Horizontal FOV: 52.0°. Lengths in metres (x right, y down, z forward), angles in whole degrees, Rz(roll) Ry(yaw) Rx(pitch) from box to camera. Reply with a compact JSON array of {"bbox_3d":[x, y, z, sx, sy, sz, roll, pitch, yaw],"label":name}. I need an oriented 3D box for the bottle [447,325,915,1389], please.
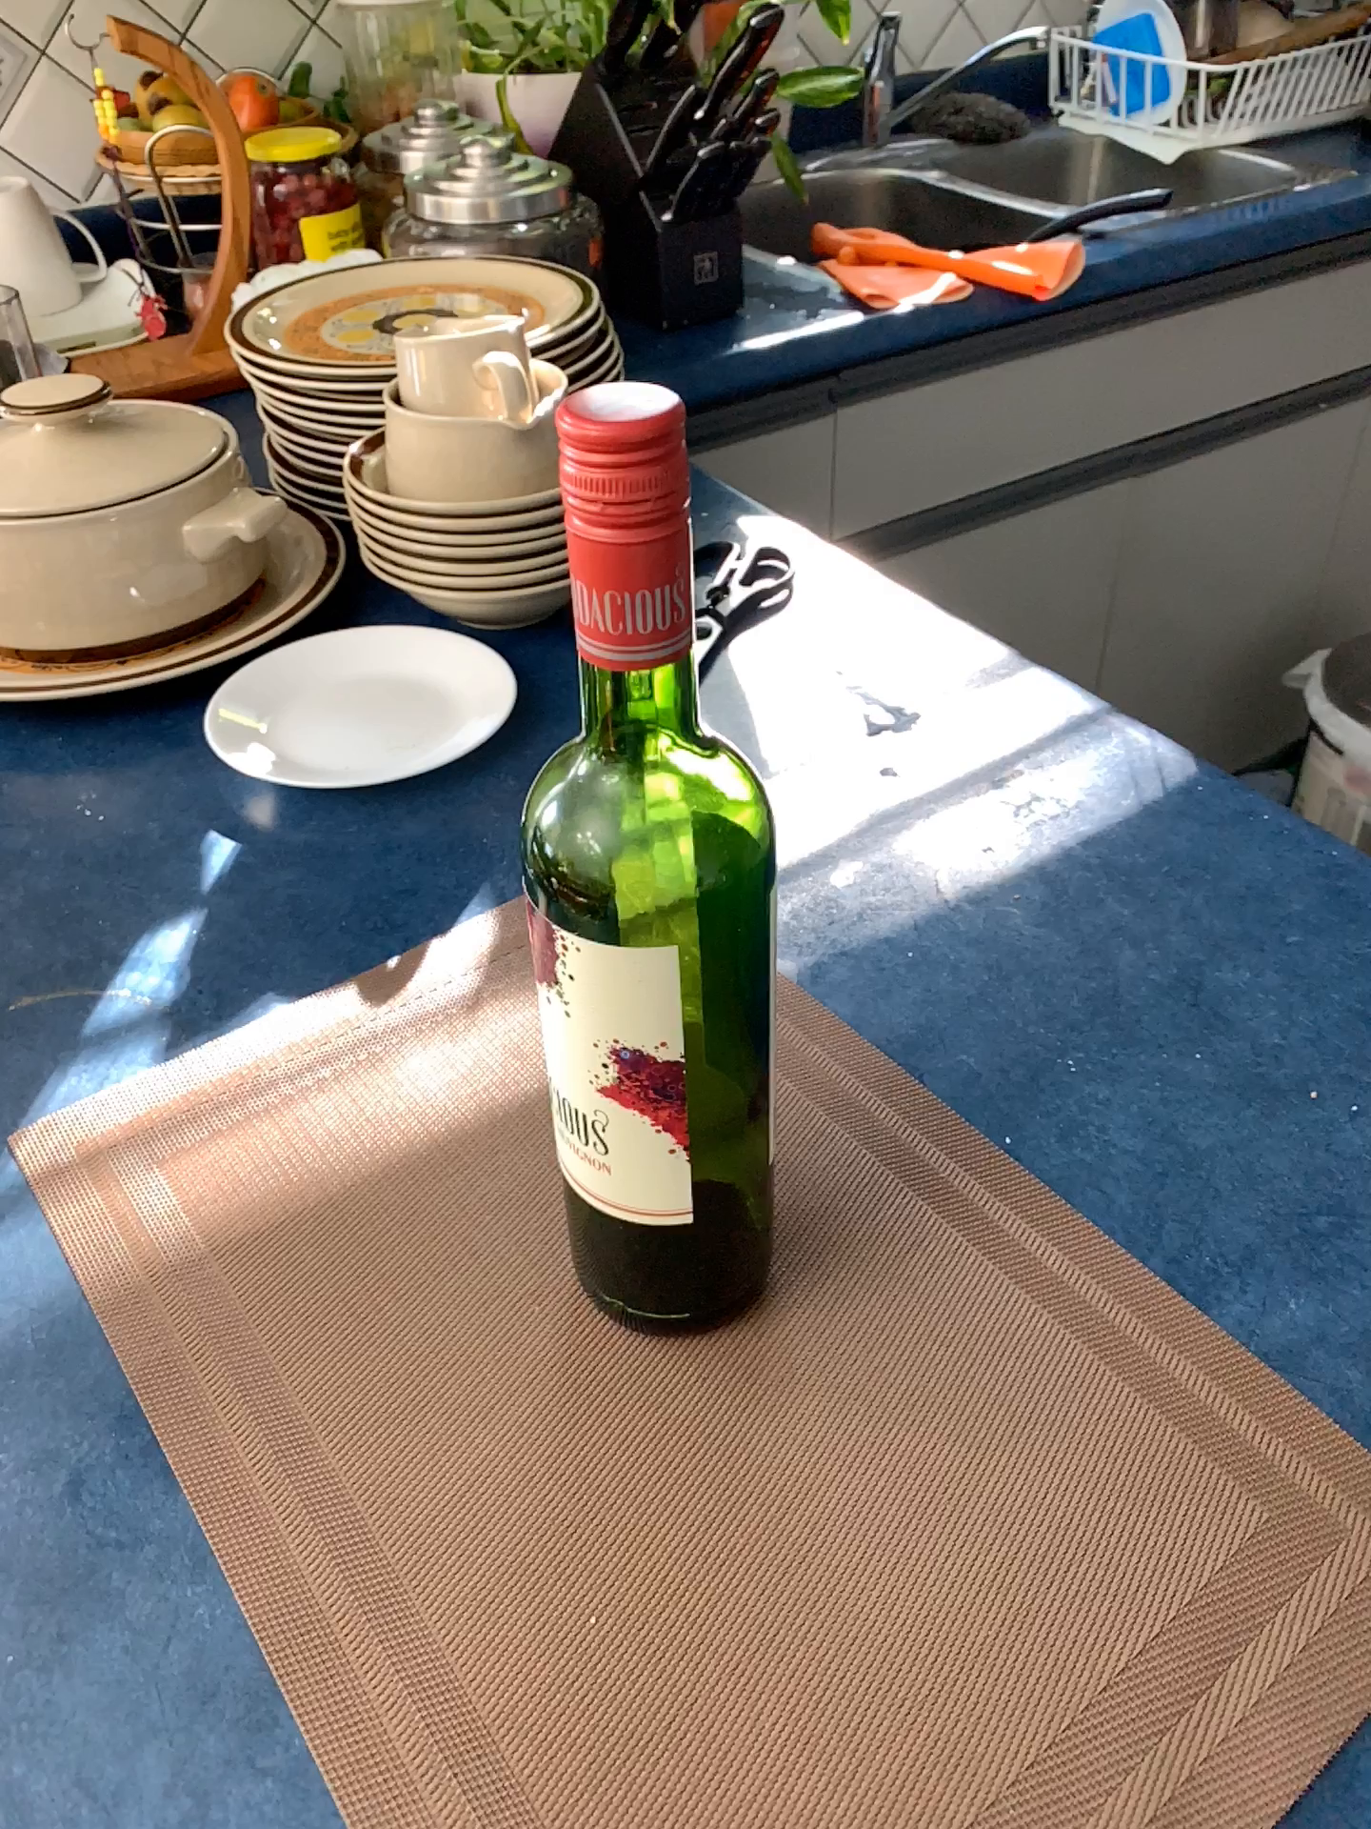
[{"bbox_3d":[0.001,0.004,0.400,0.080,0.297,0.081,-1,39,1],"label":"bottle"}]
